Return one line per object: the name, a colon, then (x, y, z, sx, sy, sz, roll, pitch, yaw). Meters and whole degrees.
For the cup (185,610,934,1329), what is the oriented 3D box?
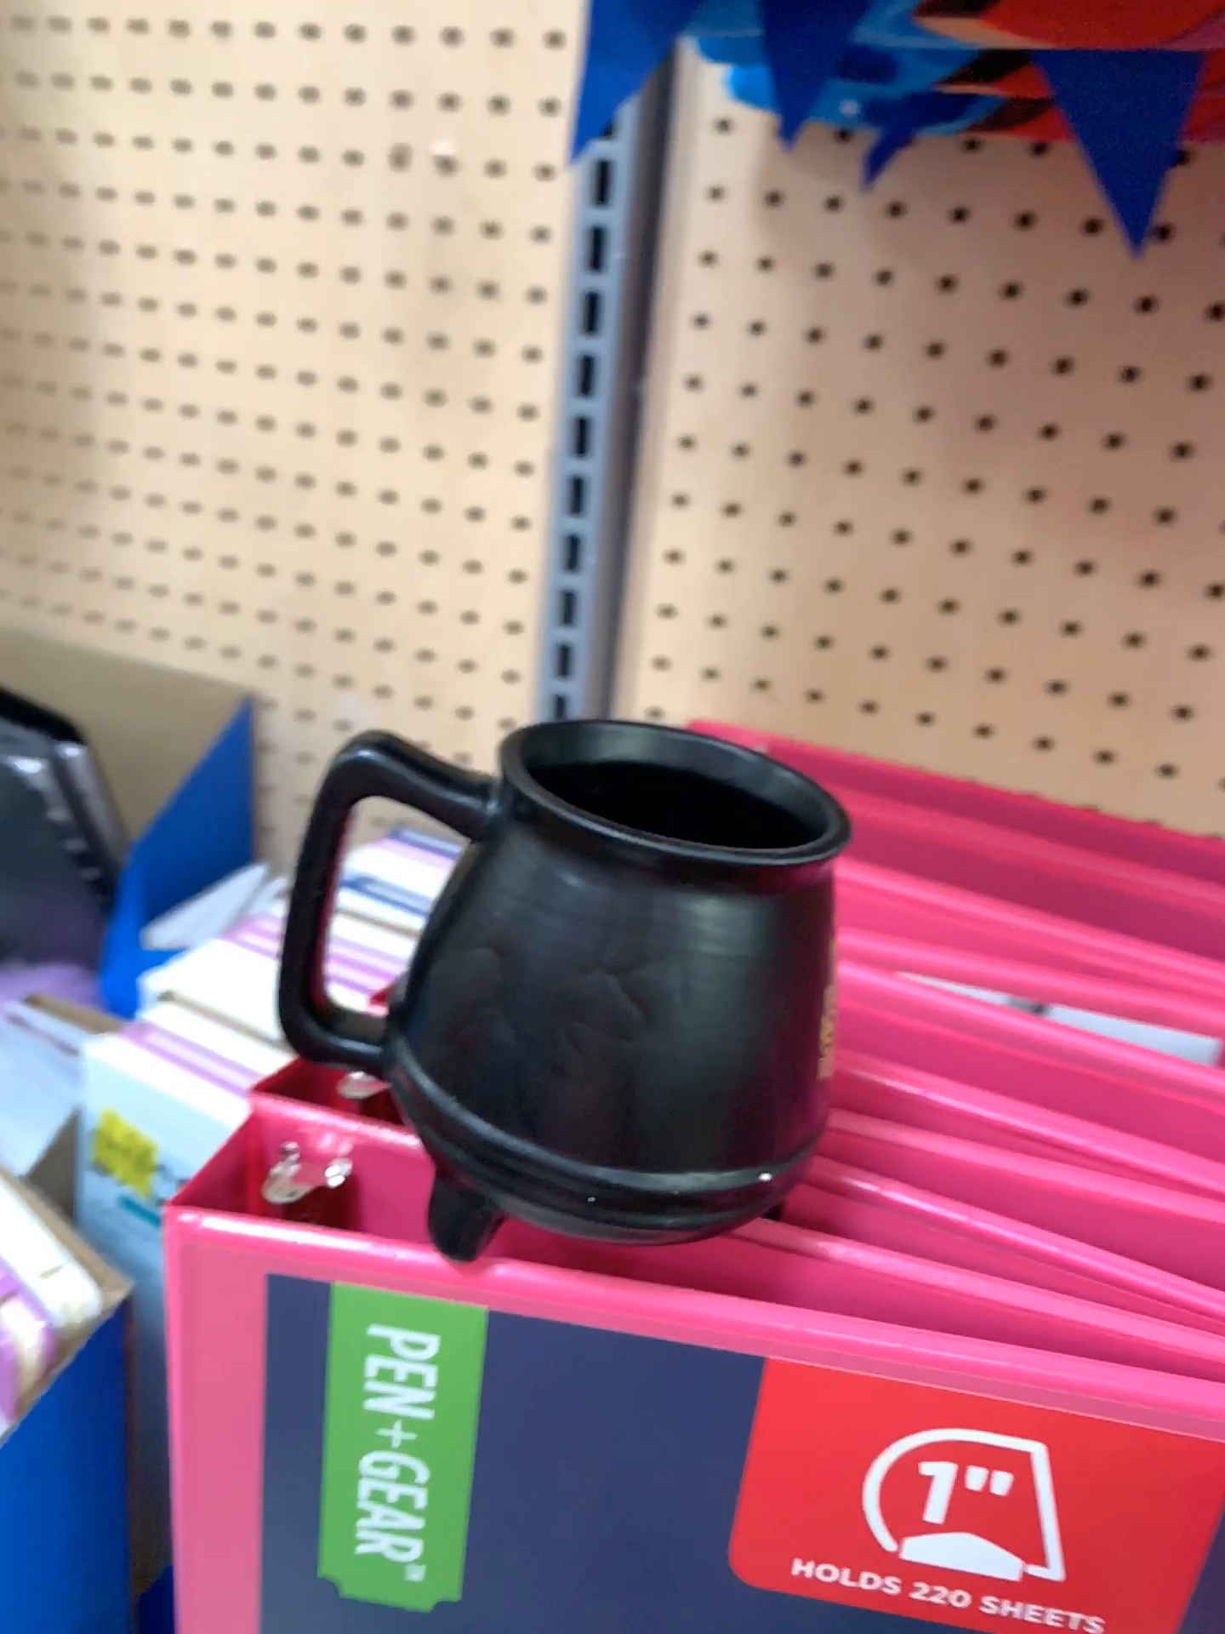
cup: (-0.009, 0.023, 0.268, 0.122, 0.093, 0.097, 10, 23, 4)
